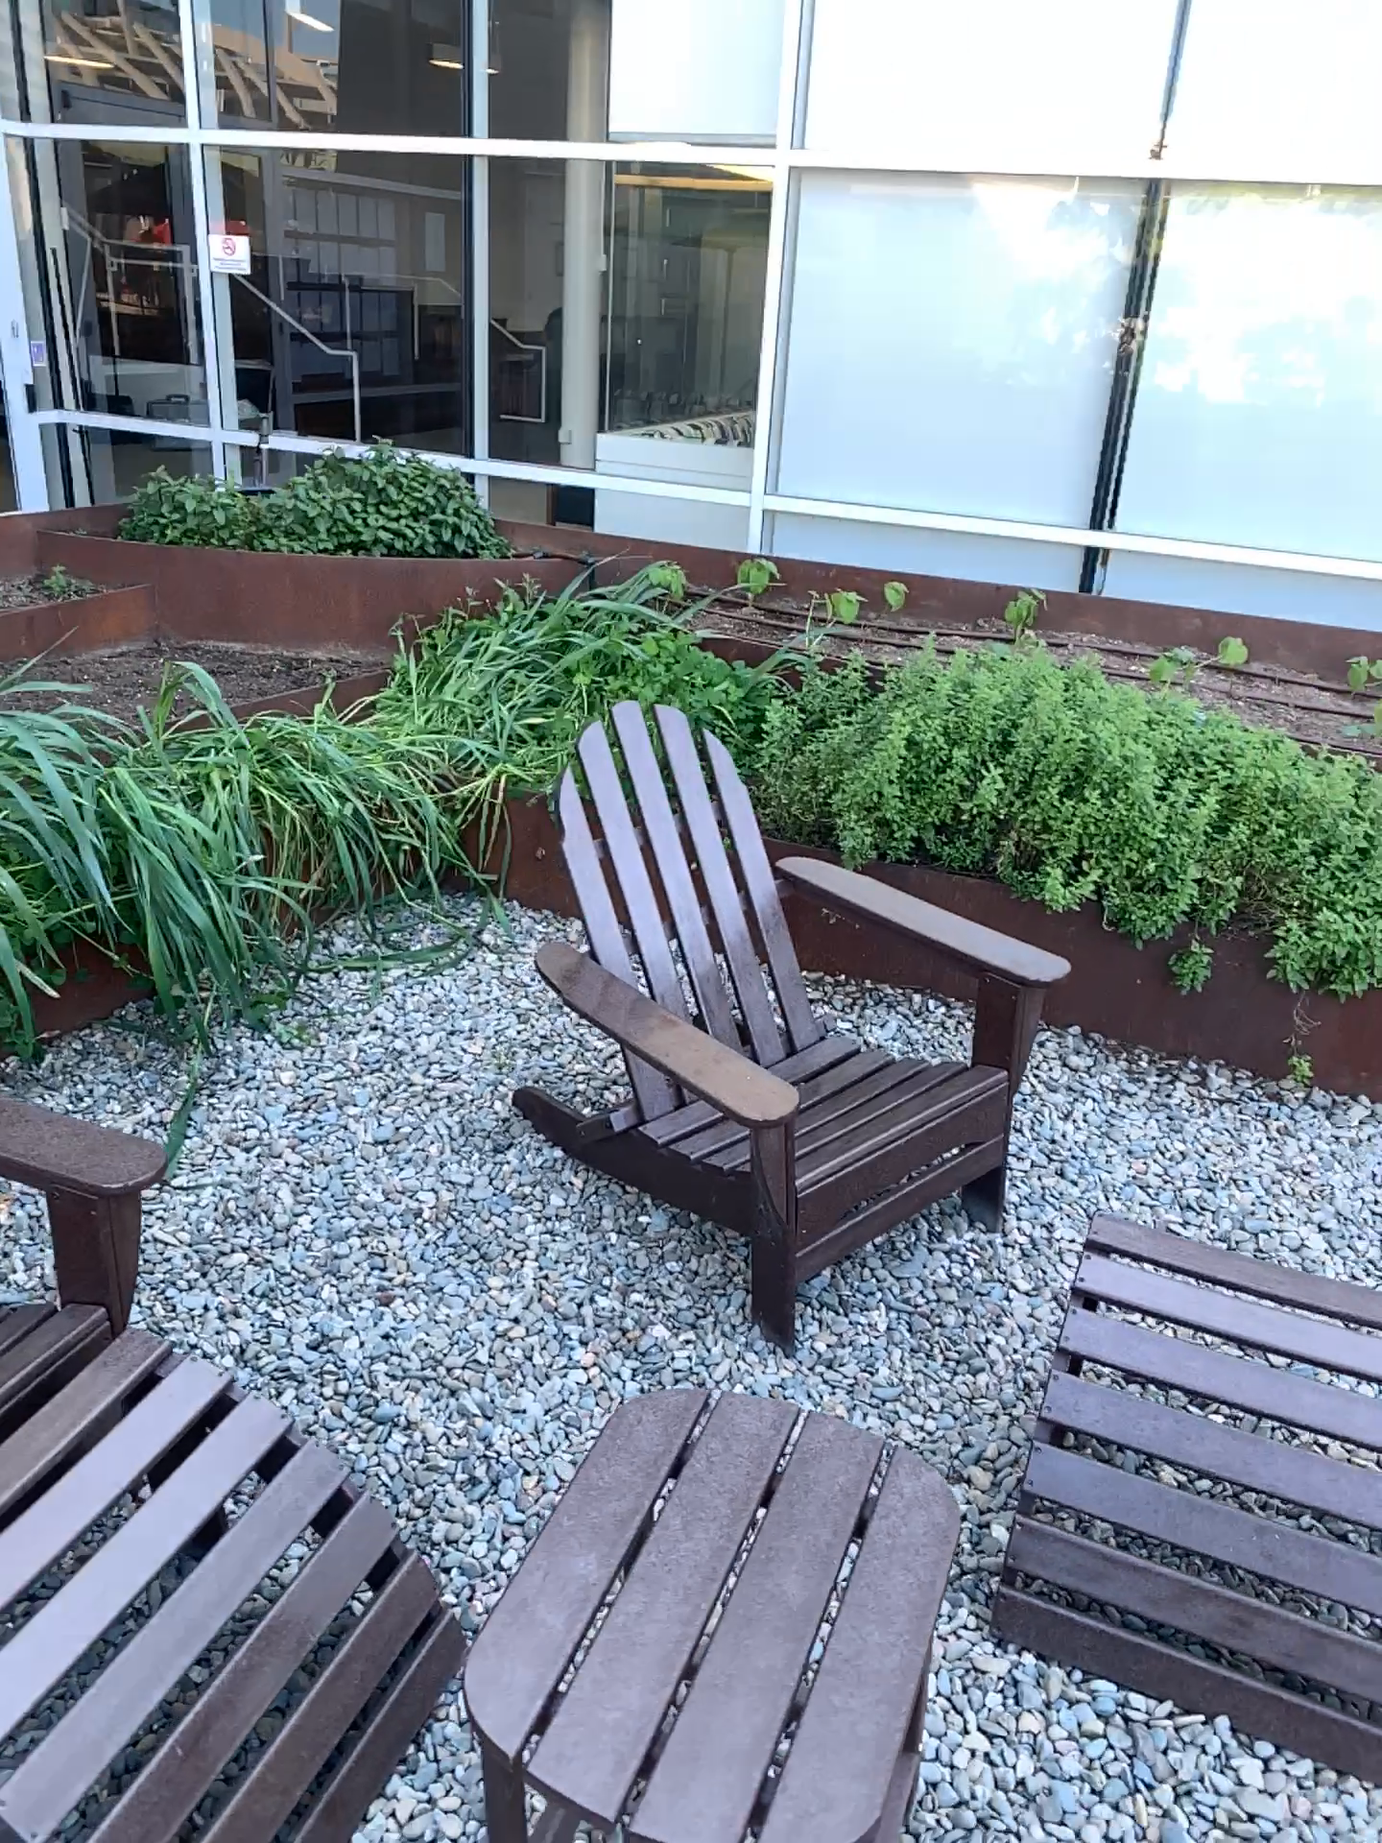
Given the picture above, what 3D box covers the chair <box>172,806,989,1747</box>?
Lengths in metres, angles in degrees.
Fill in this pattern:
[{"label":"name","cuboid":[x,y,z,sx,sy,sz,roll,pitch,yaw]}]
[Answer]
[{"label":"chair","cuboid":[-0.257,0.486,2.490,1.000,0.995,1.005,-10,27,-27]}]
